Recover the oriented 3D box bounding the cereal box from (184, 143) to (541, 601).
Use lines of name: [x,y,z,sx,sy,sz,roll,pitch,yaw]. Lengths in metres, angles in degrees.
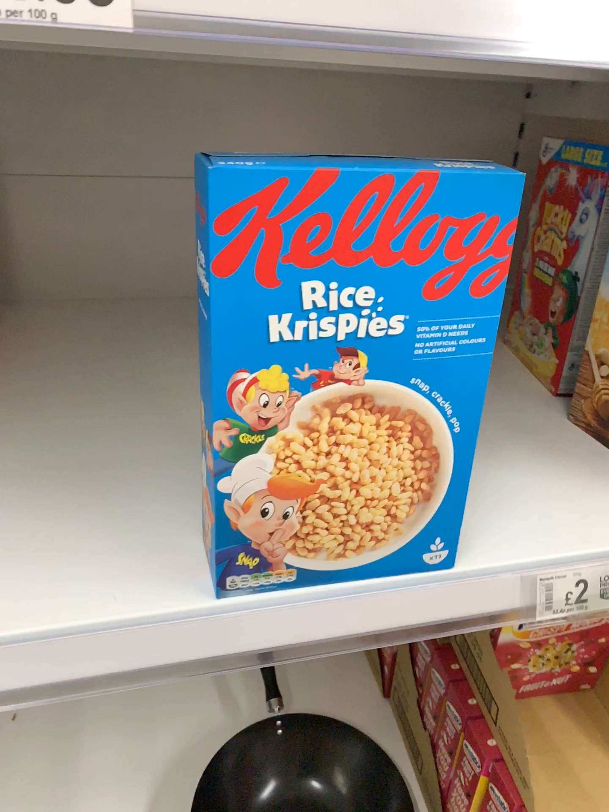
cereal box: [0.024,-0.016,0.436,0.200,0.297,0.071,-3,27,-13]
